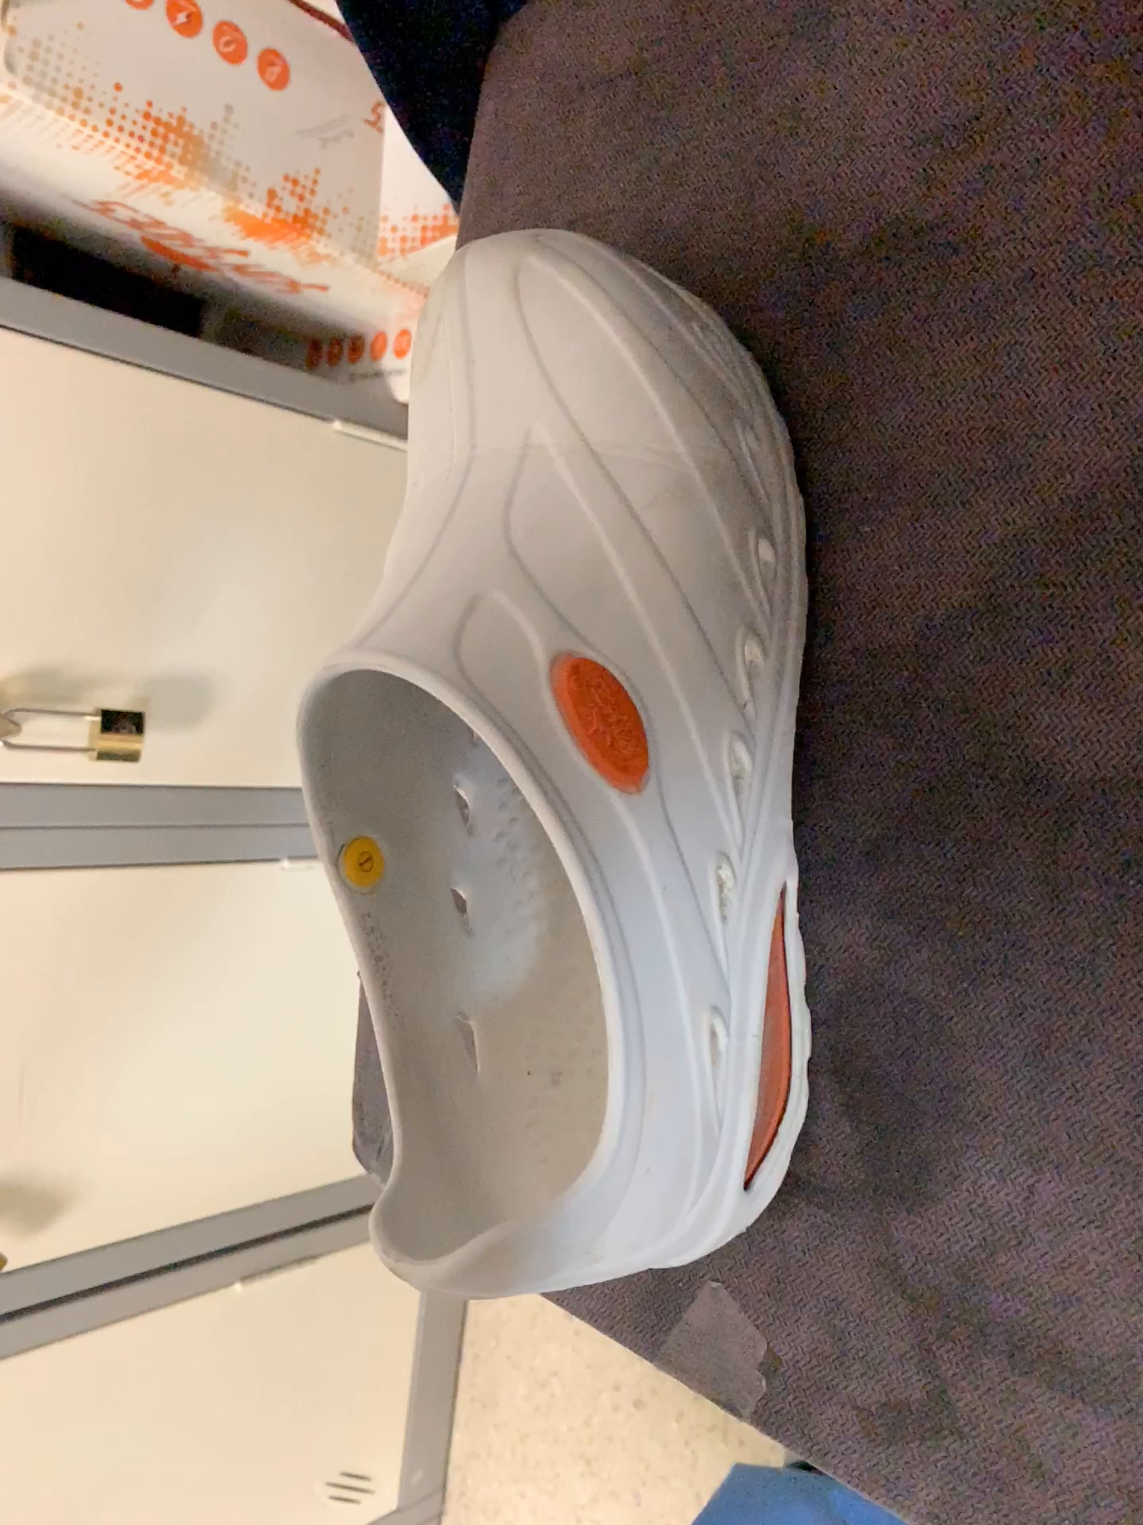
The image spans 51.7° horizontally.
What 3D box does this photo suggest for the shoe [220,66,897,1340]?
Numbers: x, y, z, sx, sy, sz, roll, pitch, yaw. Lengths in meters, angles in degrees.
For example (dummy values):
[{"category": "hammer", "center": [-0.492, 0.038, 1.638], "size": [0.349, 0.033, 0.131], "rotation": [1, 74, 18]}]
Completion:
[{"category": "shoe", "center": [-0.006, -0.009, 0.258], "size": [0.092, 0.093, 0.213], "rotation": [-12, 79, 43]}]
